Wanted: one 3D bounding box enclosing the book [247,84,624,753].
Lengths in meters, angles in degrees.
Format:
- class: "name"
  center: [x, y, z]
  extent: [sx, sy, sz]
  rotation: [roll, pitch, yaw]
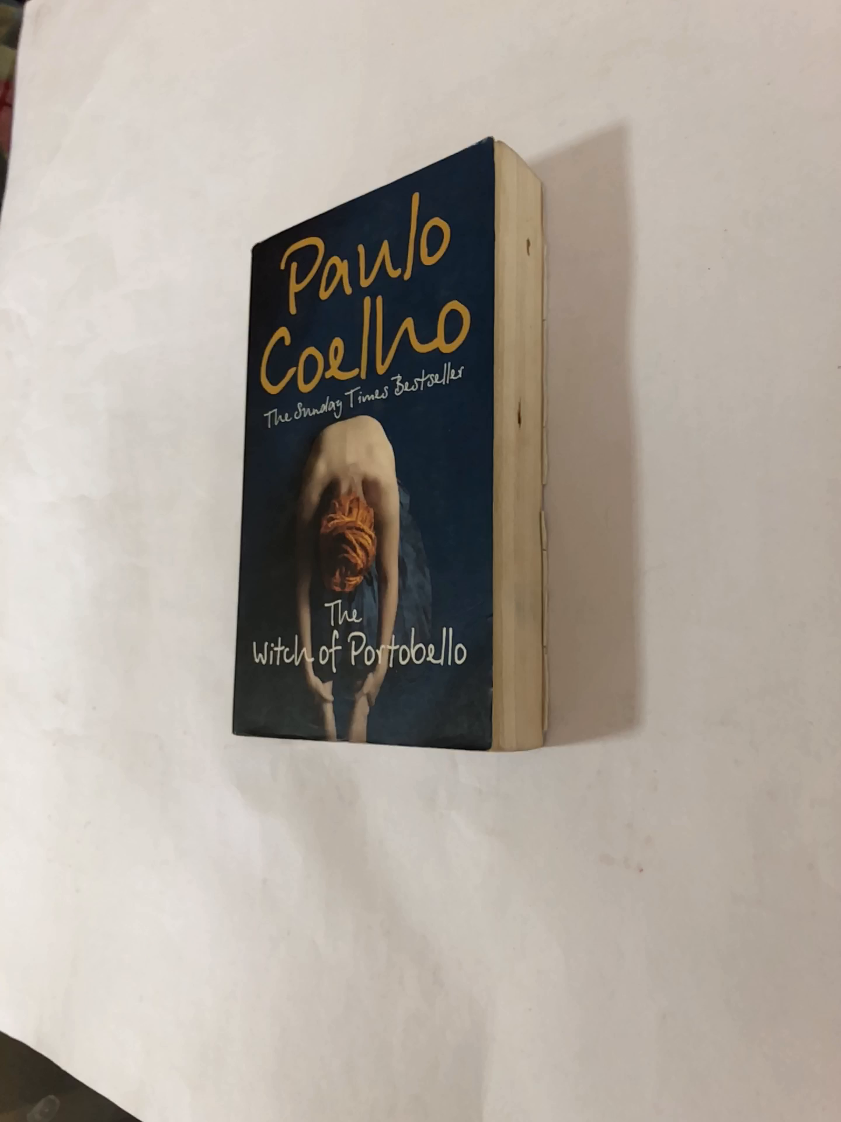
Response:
- class: "book"
  center: [0.000, -0.035, 0.295]
  extent: [0.121, 0.030, 0.180]
  rotation: [-6, 79, 39]
